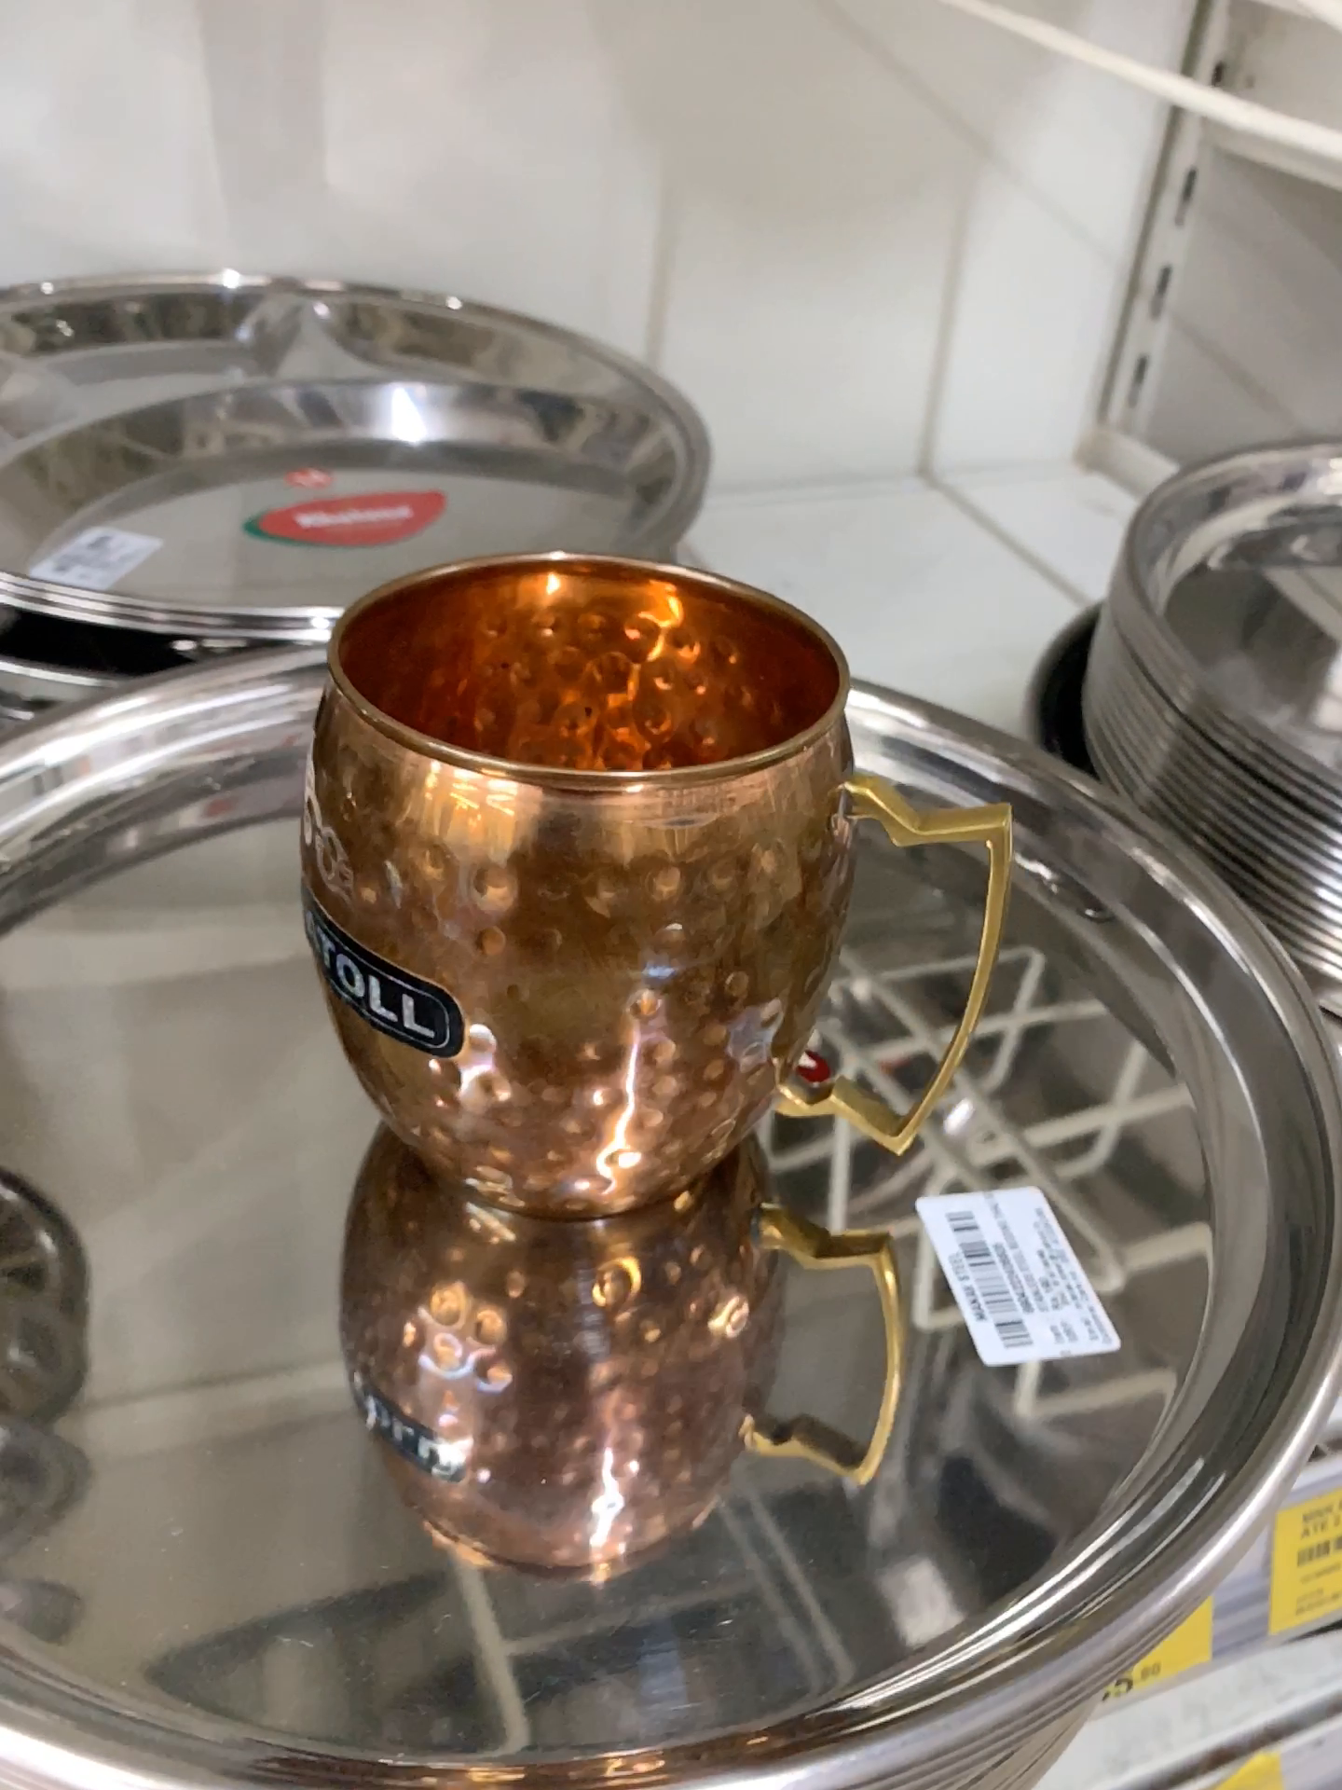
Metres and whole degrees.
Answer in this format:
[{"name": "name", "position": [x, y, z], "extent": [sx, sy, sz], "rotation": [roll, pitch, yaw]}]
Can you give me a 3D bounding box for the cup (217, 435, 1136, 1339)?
[{"name": "cup", "position": [0.005, -0.008, 0.232], "extent": [0.110, 0.090, 0.090], "rotation": [16, 39, 15]}]
